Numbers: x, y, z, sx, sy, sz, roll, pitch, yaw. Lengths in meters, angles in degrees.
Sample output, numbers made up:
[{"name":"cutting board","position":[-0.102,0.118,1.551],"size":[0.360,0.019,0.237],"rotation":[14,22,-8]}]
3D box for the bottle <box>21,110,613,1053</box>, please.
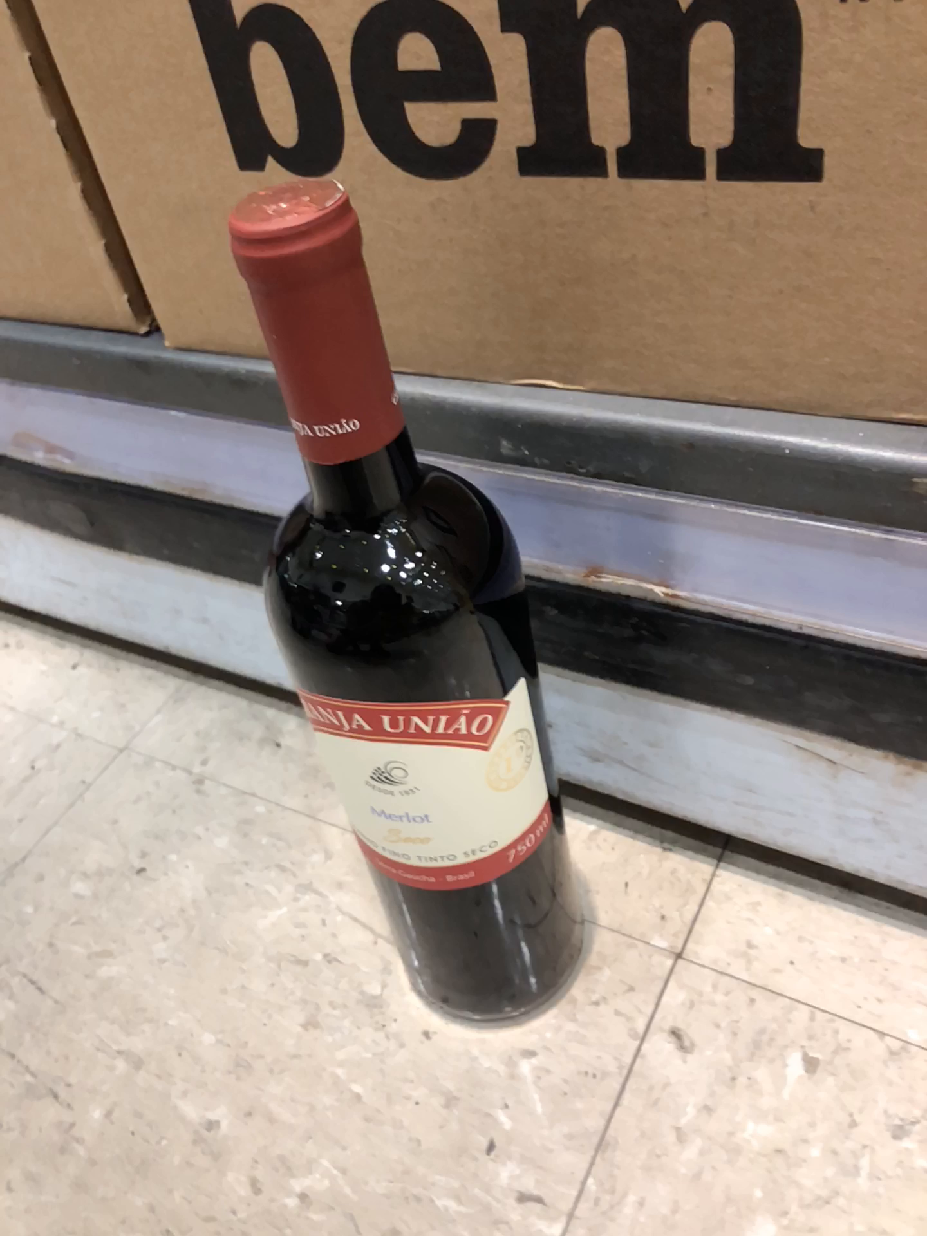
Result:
[{"name":"bottle","position":[-0.013,0.018,0.318],"size":[0.080,0.298,0.081],"rotation":[-8,41,7]}]
